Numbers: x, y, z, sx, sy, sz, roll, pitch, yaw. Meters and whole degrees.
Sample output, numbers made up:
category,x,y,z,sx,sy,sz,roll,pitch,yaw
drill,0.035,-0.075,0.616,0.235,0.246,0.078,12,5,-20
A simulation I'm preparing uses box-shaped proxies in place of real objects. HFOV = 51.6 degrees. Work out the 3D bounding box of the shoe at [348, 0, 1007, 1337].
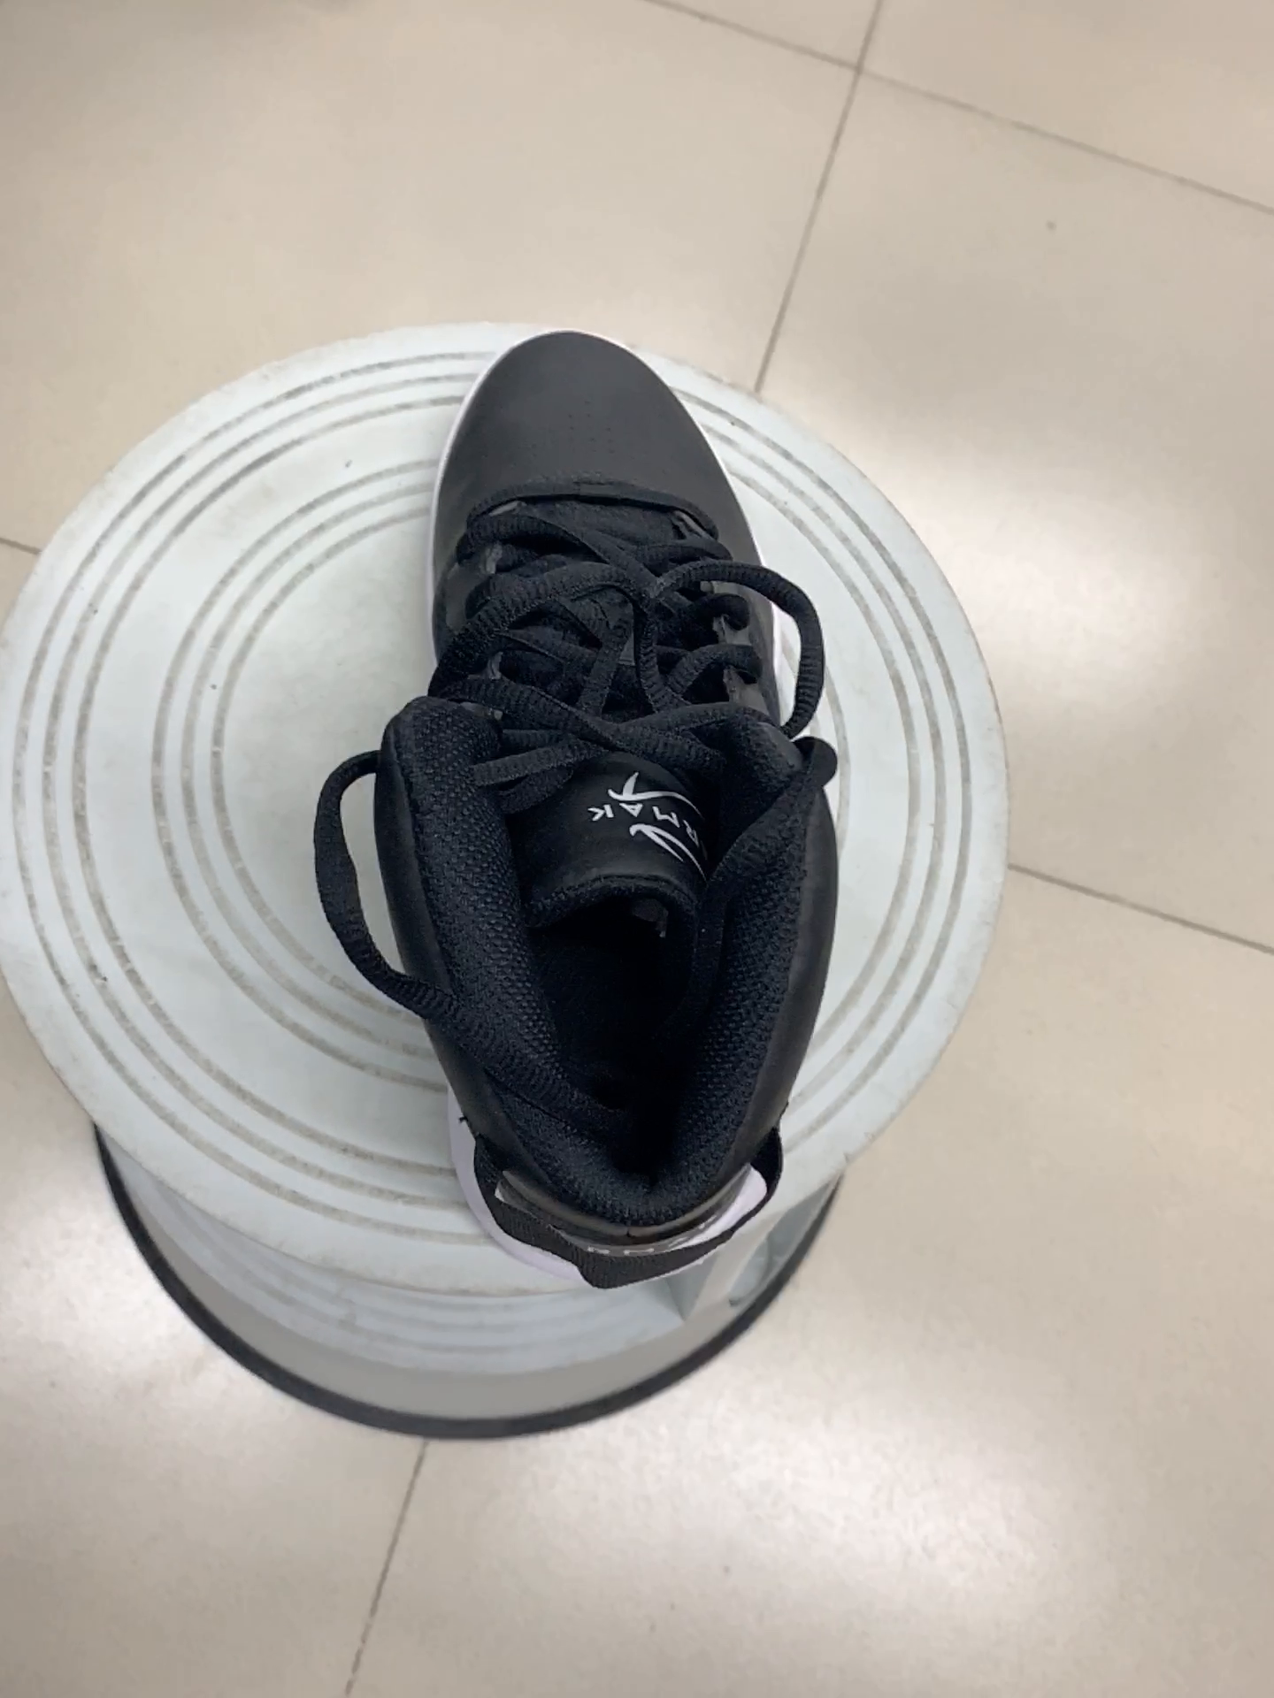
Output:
category,x,y,z,sx,sy,sz,roll,pitch,yaw
shoe,-0.007,-0.035,0.265,0.090,0.100,0.240,-2,72,-8
